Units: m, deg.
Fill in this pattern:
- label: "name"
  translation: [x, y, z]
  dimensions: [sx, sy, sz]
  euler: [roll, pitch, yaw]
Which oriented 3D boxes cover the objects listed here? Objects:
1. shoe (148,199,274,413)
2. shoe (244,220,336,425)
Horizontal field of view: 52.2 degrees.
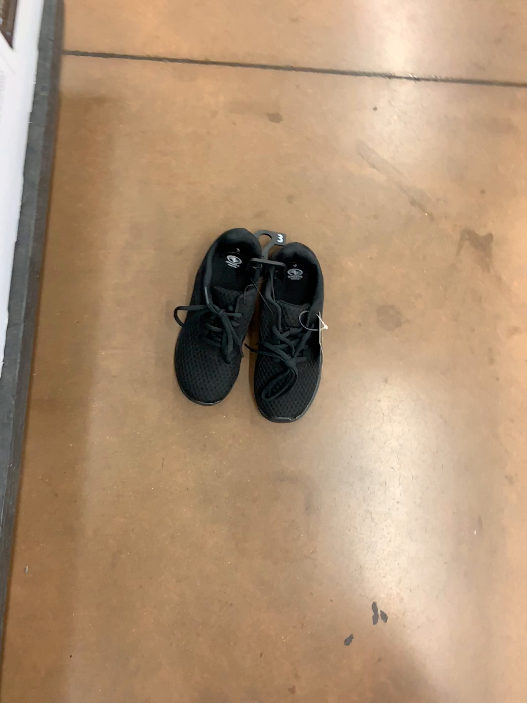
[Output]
- label: "shoe"
  translation: [-0.059, -0.049, 0.648]
  dimensions: [0.090, 0.080, 0.230]
  euler: [13, 83, 1]
- label: "shoe"
  translation: [0.031, -0.031, 0.653]
  dimensions: [0.090, 0.080, 0.230]
  euler: [4, 83, -1]
